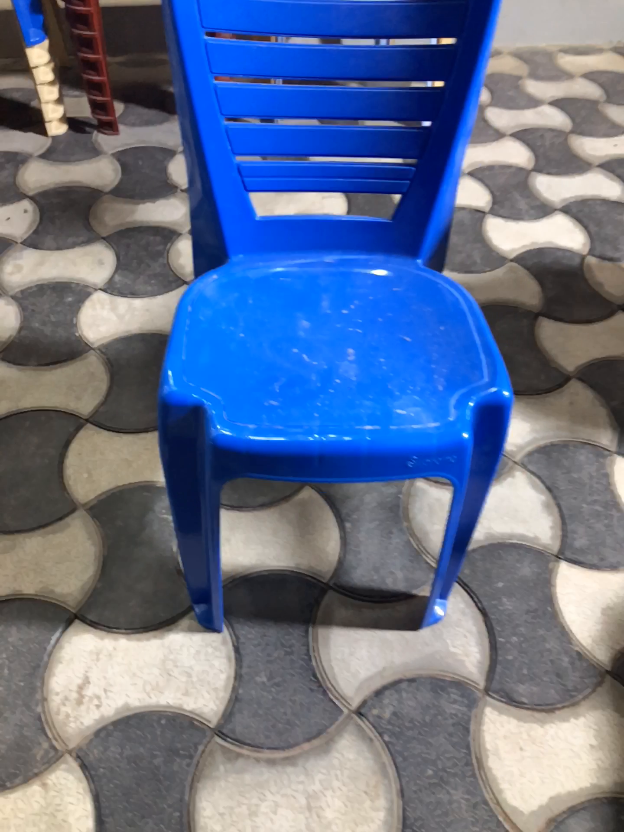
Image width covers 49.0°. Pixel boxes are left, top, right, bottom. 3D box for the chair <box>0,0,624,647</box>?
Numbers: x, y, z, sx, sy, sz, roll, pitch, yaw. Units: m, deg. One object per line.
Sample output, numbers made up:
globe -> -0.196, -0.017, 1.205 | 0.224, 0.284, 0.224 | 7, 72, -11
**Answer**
chair -> 0.014, -0.159, 0.728 | 0.470, 0.725, 0.513 | 1, 47, -2
